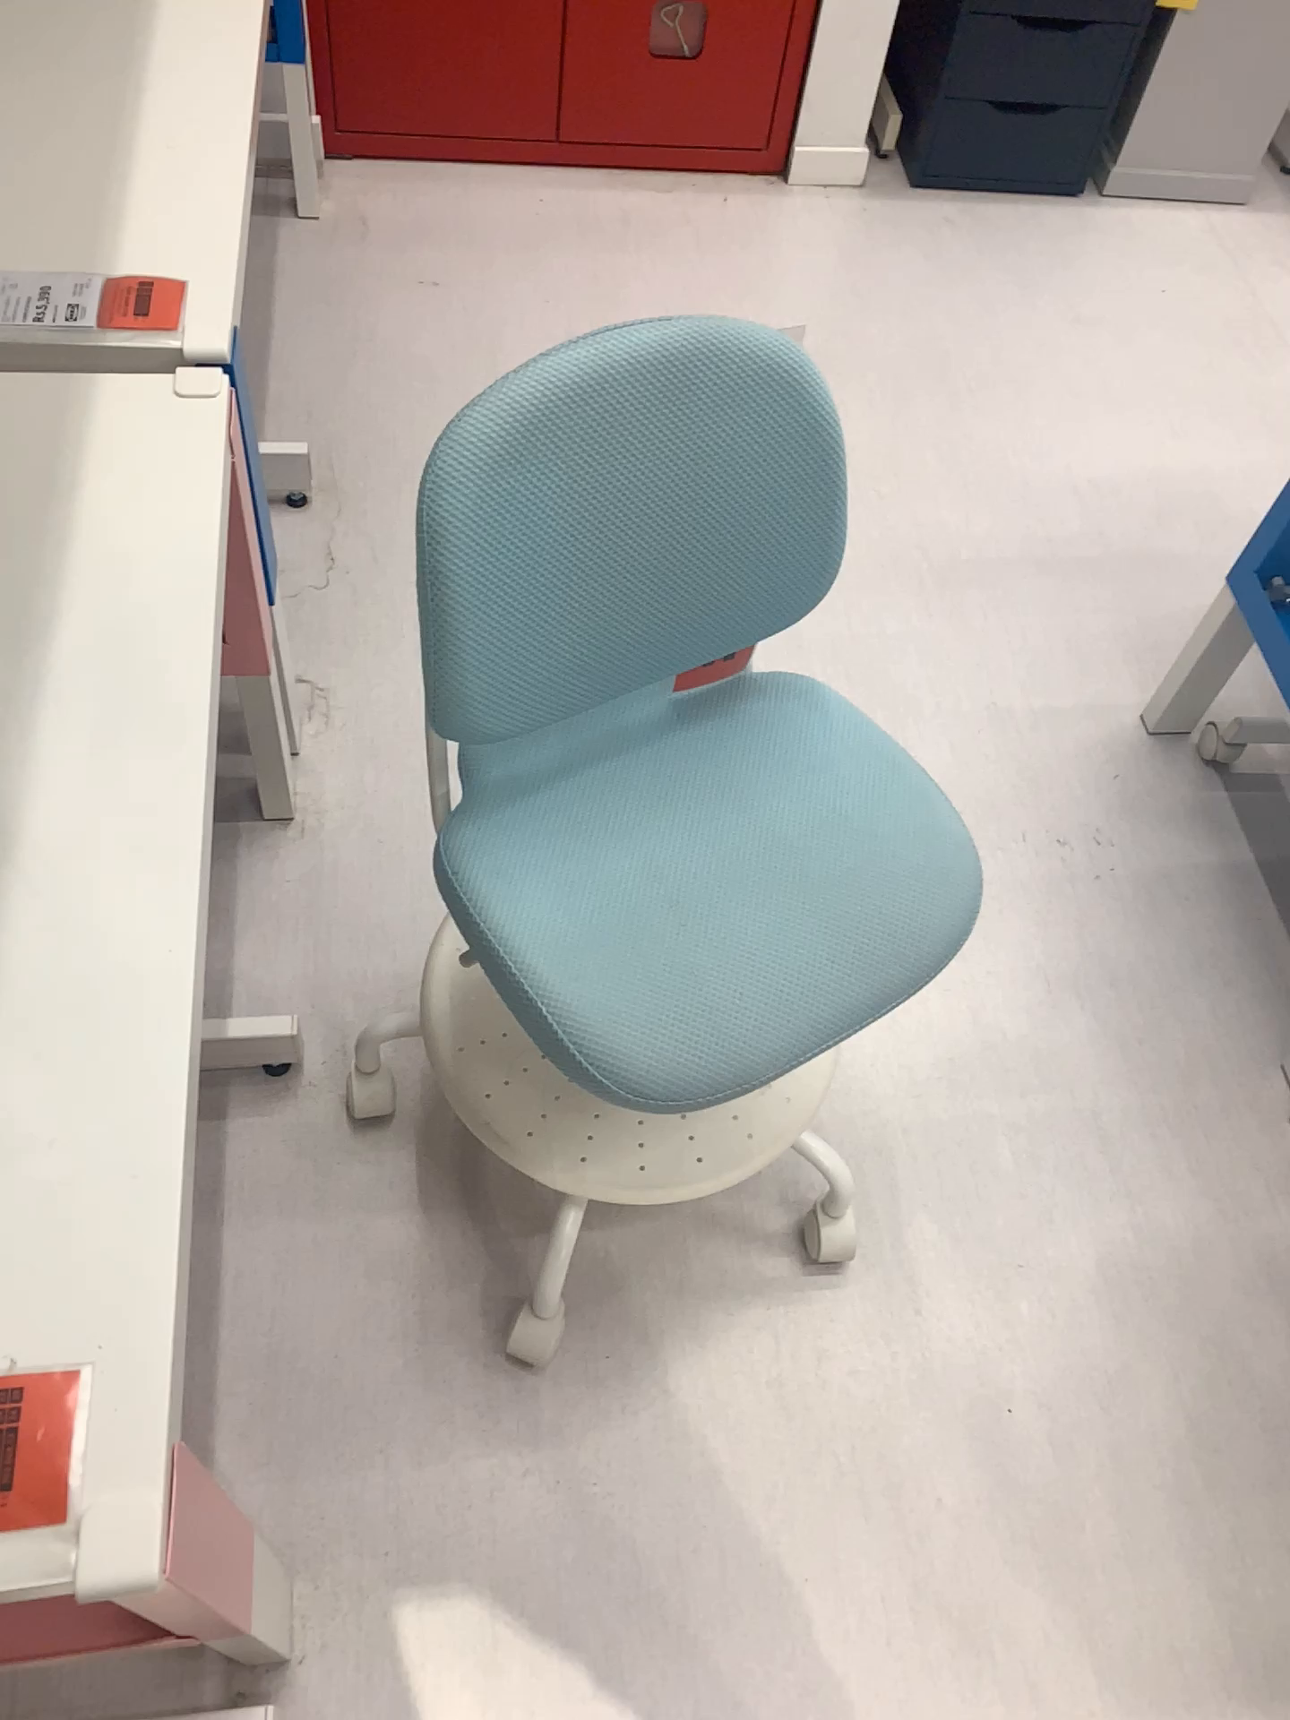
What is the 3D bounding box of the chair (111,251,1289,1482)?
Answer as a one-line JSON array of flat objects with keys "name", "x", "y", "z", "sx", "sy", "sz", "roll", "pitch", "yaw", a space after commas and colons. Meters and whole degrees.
[{"name": "chair", "x": 0.019, "y": 0.022, "z": 1.123, "sx": 0.581, "sy": 0.678, "sz": 0.611, "roll": -26, "pitch": 62, "yaw": -23}]
